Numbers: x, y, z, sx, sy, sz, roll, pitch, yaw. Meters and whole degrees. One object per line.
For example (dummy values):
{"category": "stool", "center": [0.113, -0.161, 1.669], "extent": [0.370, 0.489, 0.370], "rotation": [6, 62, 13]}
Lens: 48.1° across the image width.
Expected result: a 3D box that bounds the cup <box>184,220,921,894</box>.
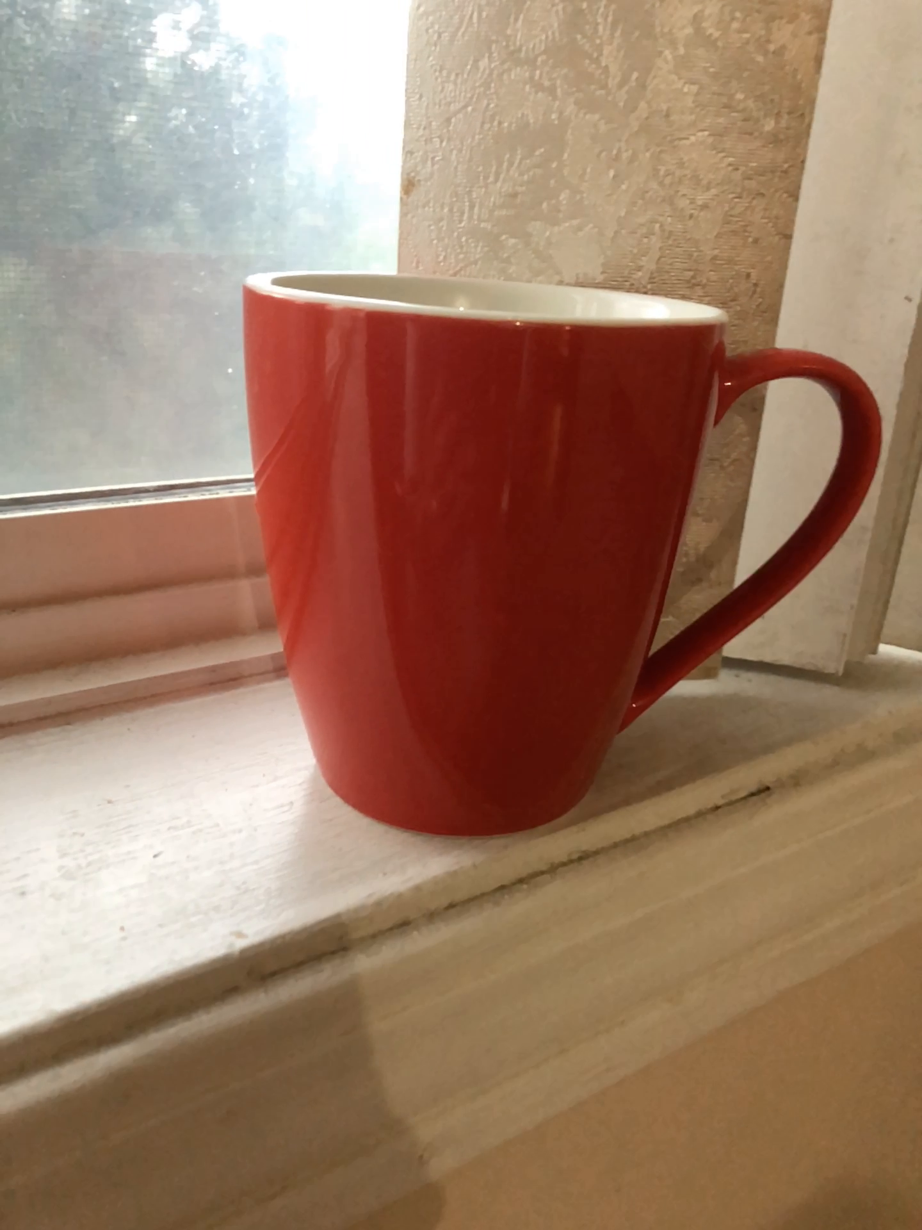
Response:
{"category": "cup", "center": [0.014, -0.020, 0.192], "extent": [0.110, 0.090, 0.080], "rotation": [-6, 23, -25]}
